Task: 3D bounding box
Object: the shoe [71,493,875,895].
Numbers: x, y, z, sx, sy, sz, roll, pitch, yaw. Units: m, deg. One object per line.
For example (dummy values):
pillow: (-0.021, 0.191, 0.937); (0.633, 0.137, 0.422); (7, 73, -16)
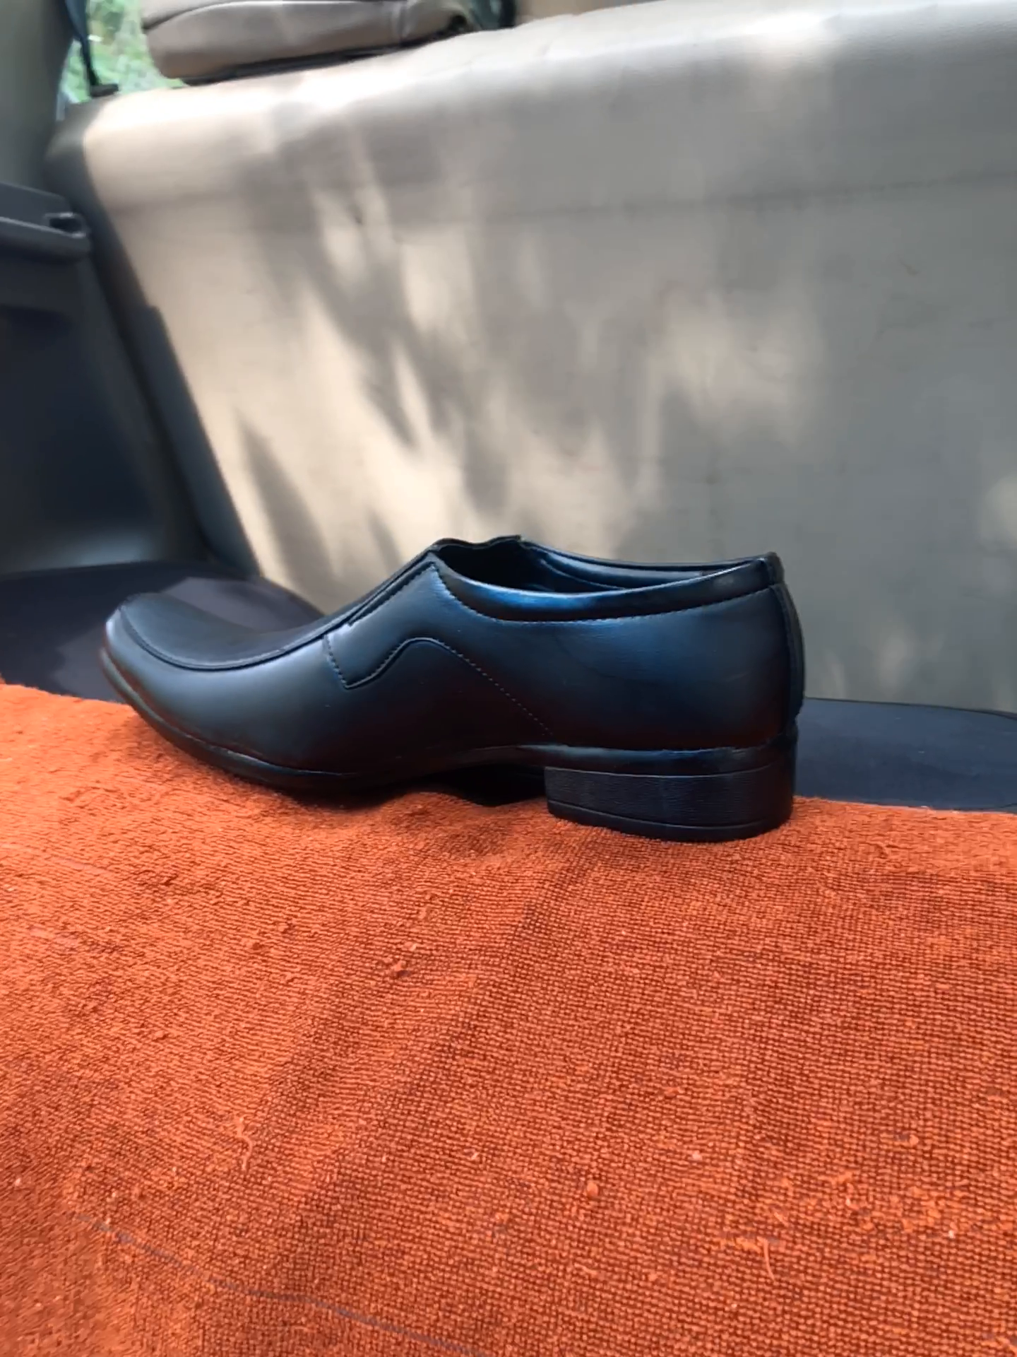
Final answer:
shoe: (-0.020, -0.017, 0.472); (0.290, 0.100, 0.161); (9, 16, 33)
